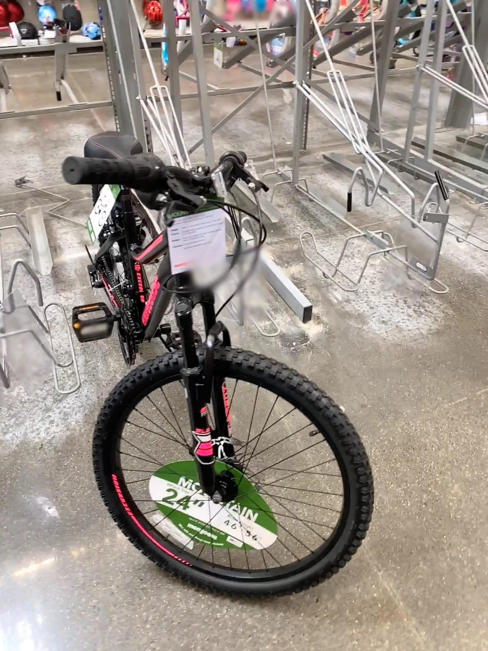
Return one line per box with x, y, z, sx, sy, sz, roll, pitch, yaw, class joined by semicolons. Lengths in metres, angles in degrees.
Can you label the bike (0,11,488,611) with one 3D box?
-0.145;-0.208;1.319;0.639;0.963;1.407;-22;42;-25;bike
